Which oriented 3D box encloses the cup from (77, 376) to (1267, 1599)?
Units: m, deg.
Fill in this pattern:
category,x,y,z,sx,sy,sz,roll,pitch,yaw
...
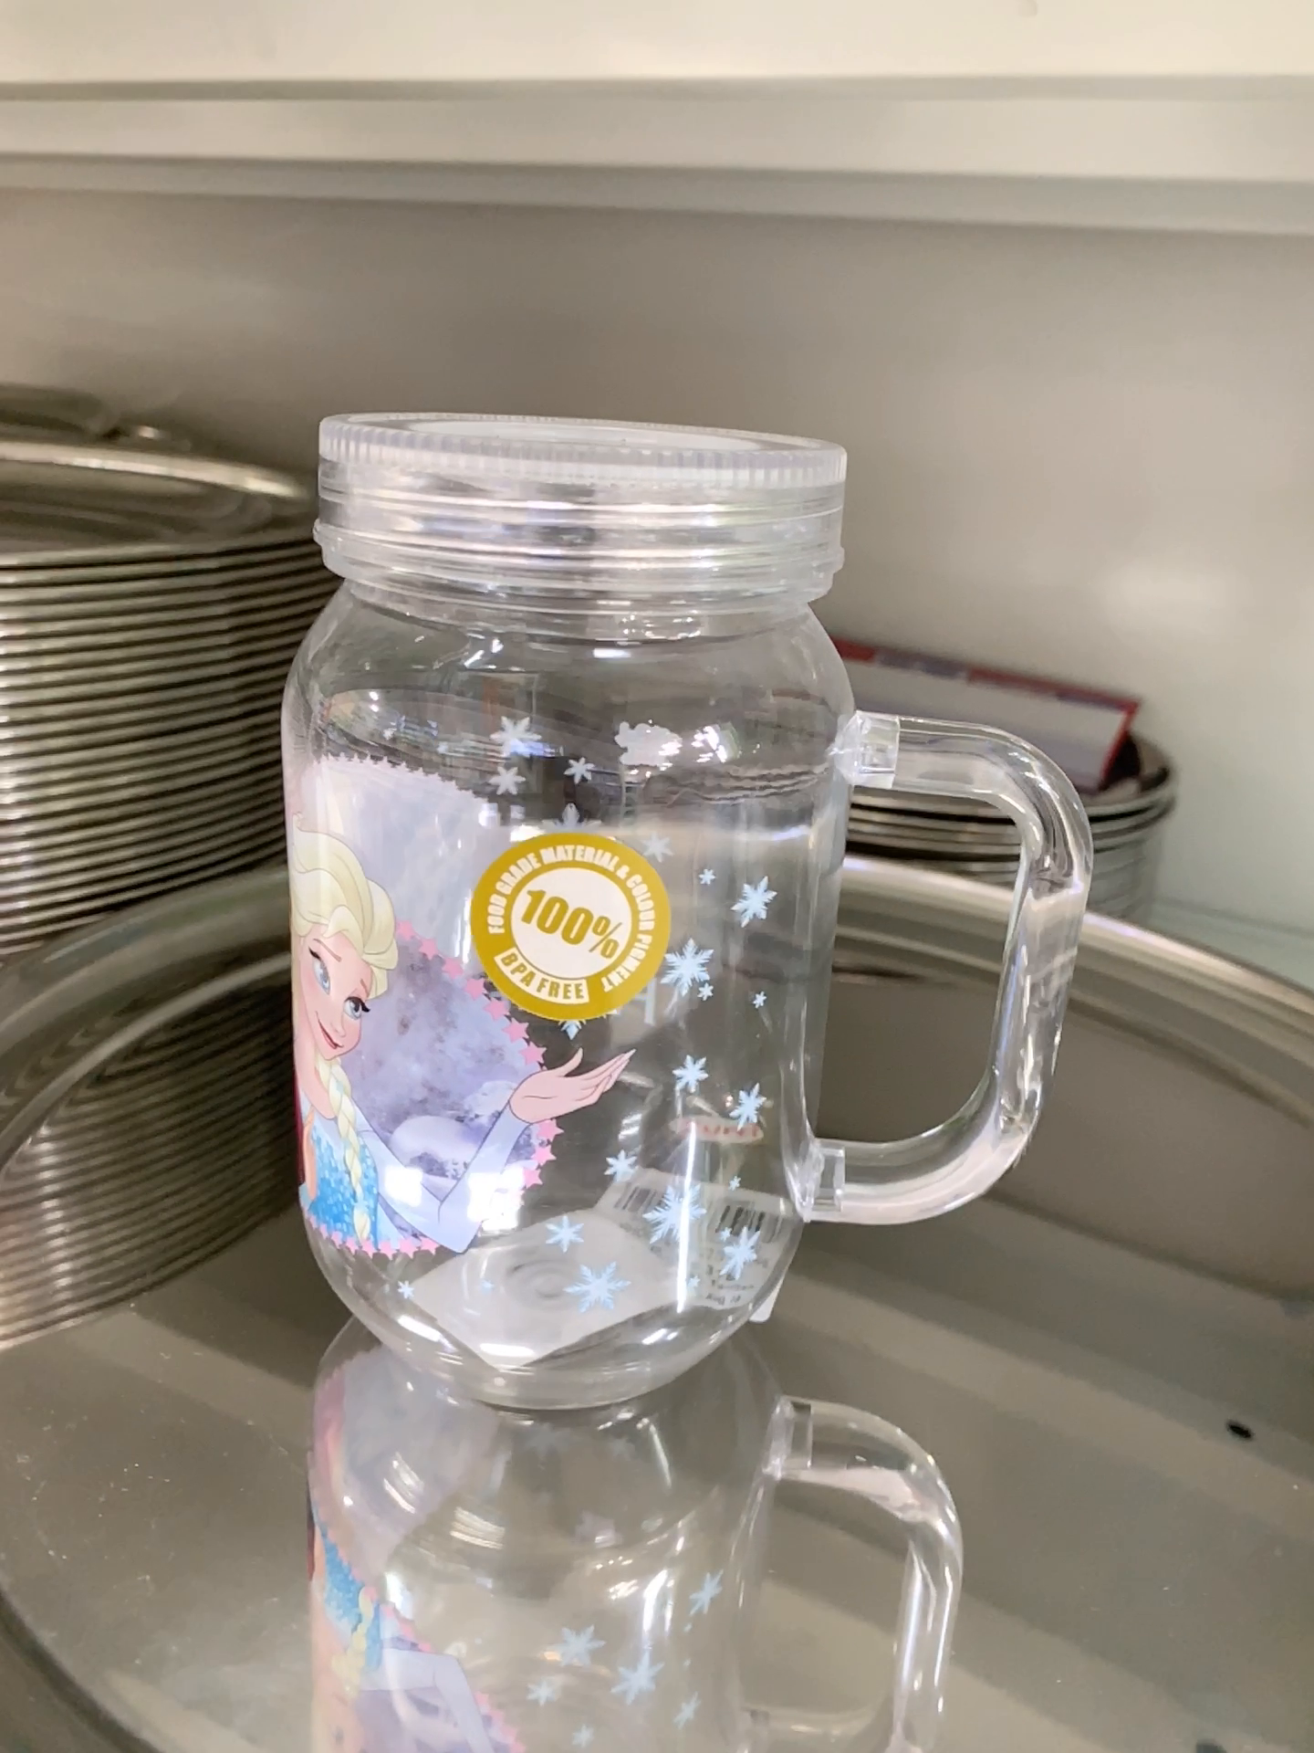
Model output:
category,x,y,z,sx,sy,sz,roll,pitch,yaw
cup,0.000,0.005,0.189,0.120,0.129,0.070,9,20,12
